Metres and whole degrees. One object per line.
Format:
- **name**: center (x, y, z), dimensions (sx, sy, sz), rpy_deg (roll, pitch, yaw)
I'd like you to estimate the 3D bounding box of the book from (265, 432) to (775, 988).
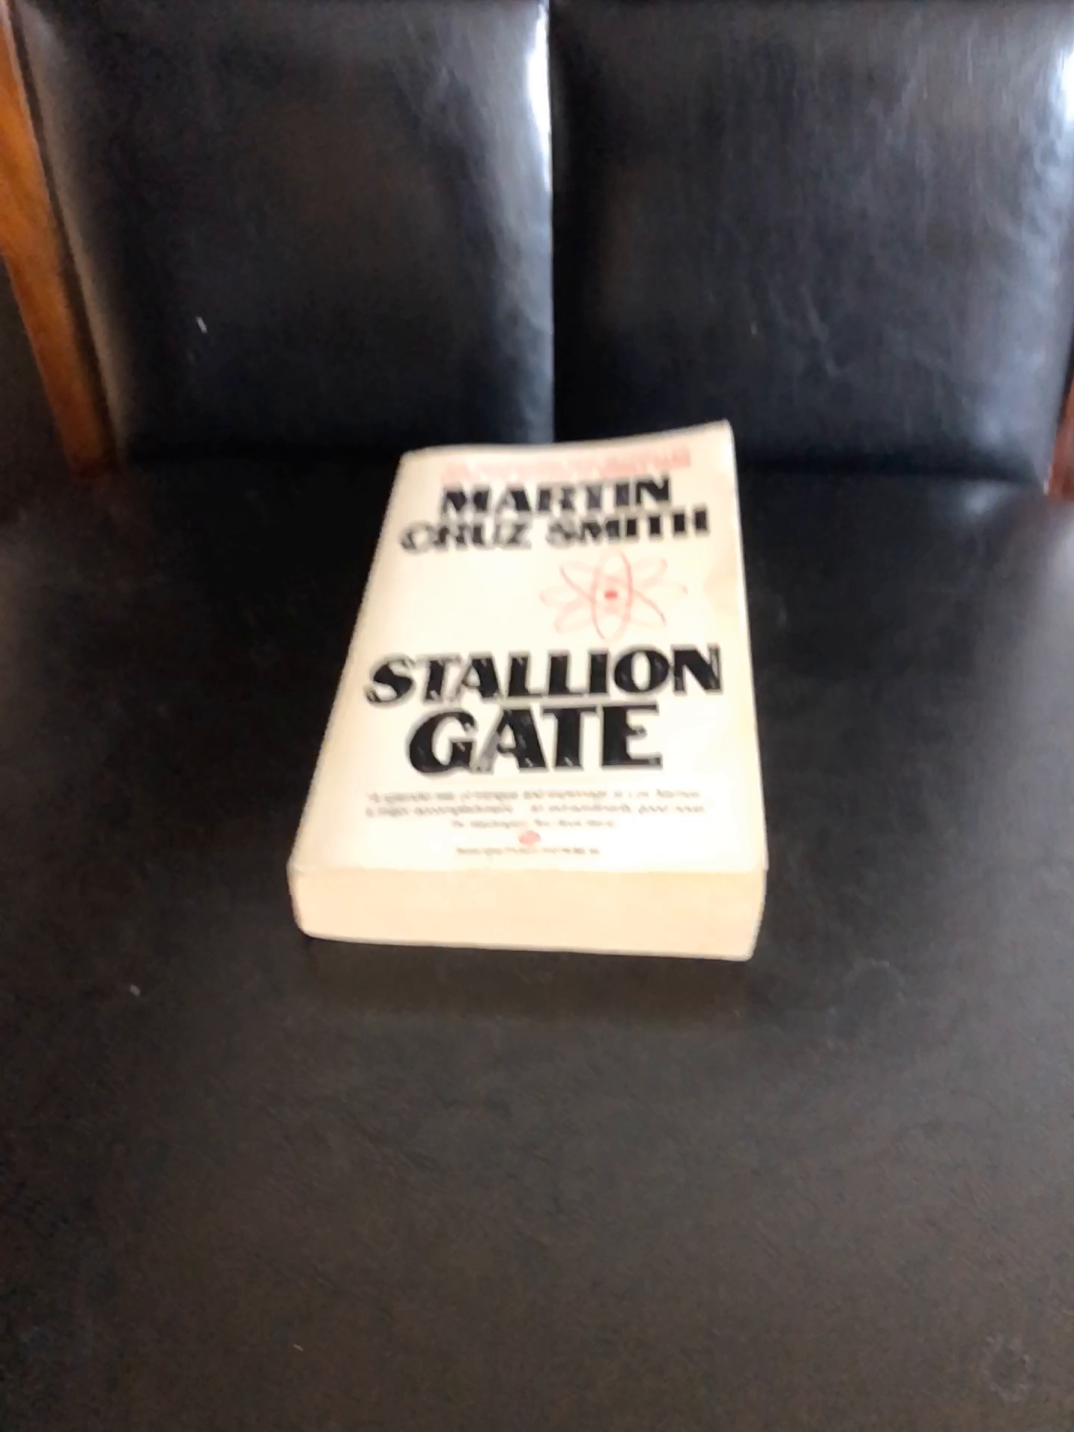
- **book**: center (0.004, -0.016, 0.337), dimensions (0.110, 0.030, 0.191), rpy_deg (1, 44, 6)
